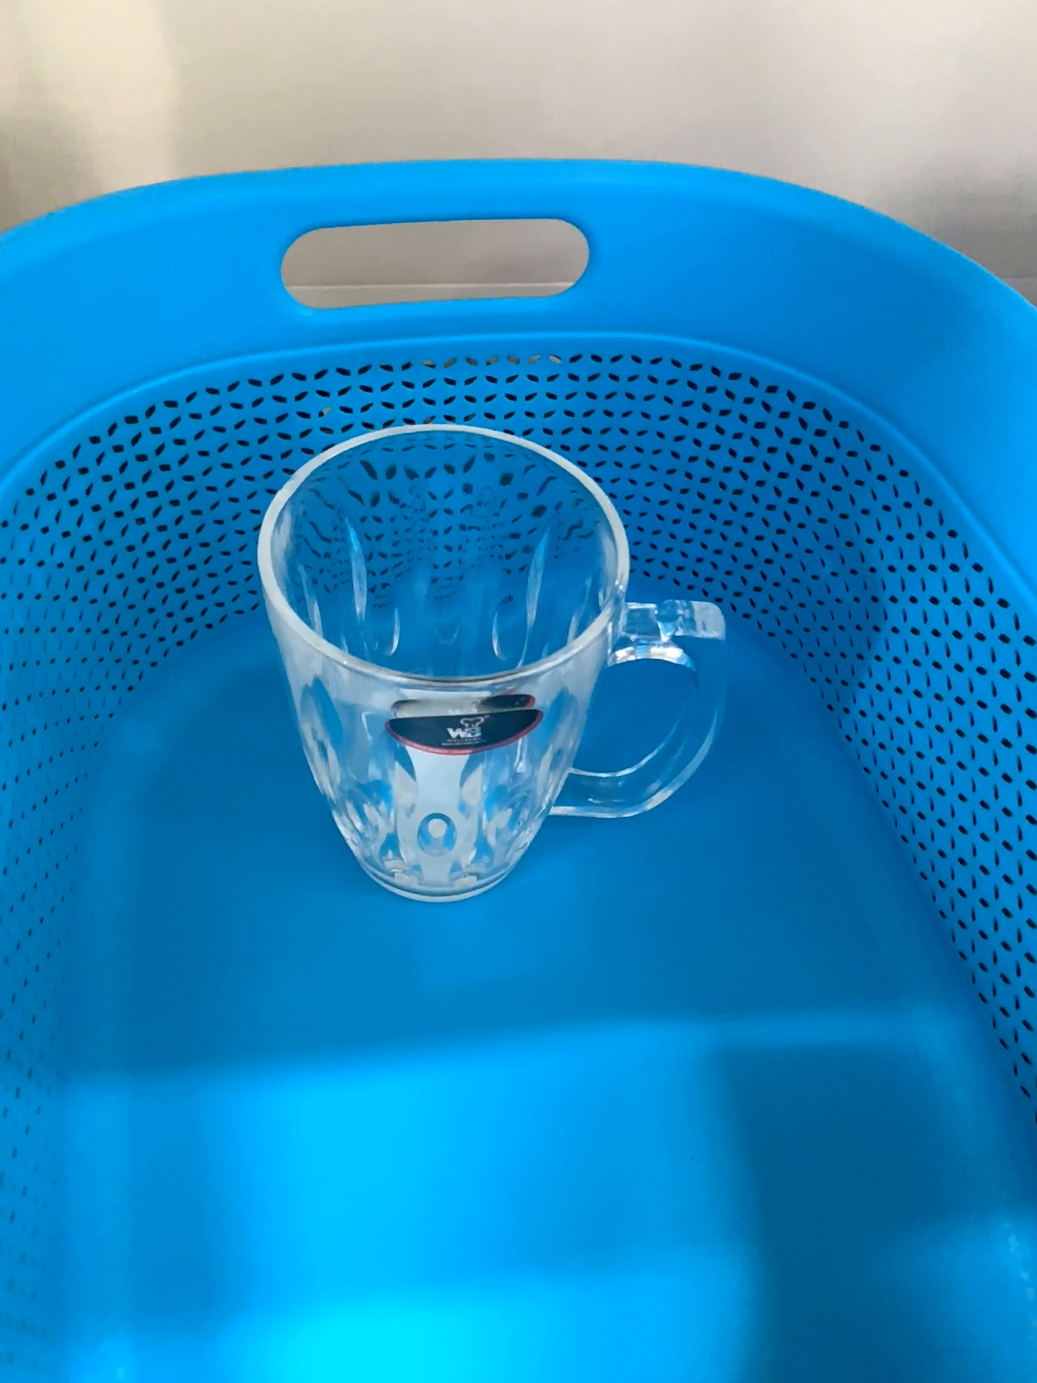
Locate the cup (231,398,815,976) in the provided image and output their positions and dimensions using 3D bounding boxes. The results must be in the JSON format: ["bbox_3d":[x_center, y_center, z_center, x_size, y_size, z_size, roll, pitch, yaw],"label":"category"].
[{"bbox_3d":[-0.006,0.002,0.272,0.109,0.117,0.078,-7,53,-11],"label":"cup"}]
